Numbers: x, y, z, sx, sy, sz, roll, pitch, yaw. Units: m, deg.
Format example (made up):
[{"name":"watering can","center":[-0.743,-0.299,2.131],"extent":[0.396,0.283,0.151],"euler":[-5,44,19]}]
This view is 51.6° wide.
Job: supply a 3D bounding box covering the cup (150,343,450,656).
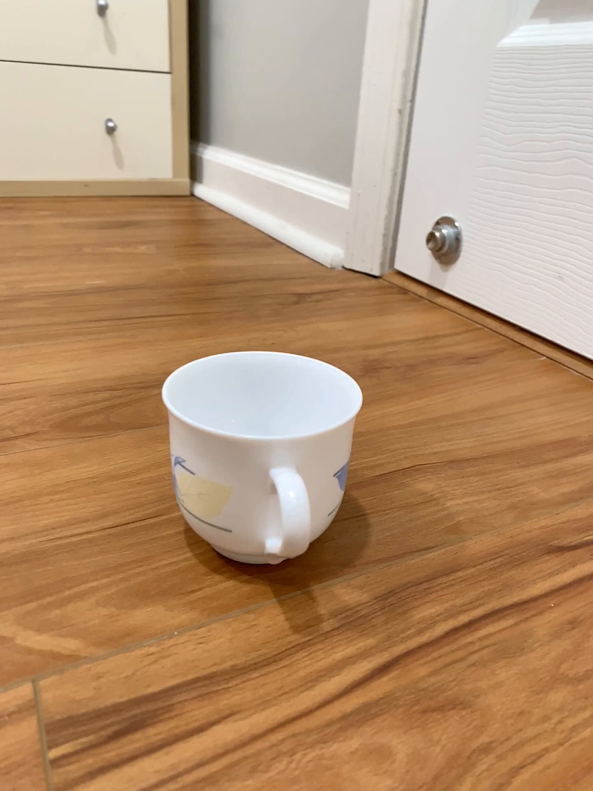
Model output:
[{"name":"cup","center":[-0.008,0.030,0.246],"extent":[0.083,0.063,0.104],"euler":[-6,28,-19]}]
